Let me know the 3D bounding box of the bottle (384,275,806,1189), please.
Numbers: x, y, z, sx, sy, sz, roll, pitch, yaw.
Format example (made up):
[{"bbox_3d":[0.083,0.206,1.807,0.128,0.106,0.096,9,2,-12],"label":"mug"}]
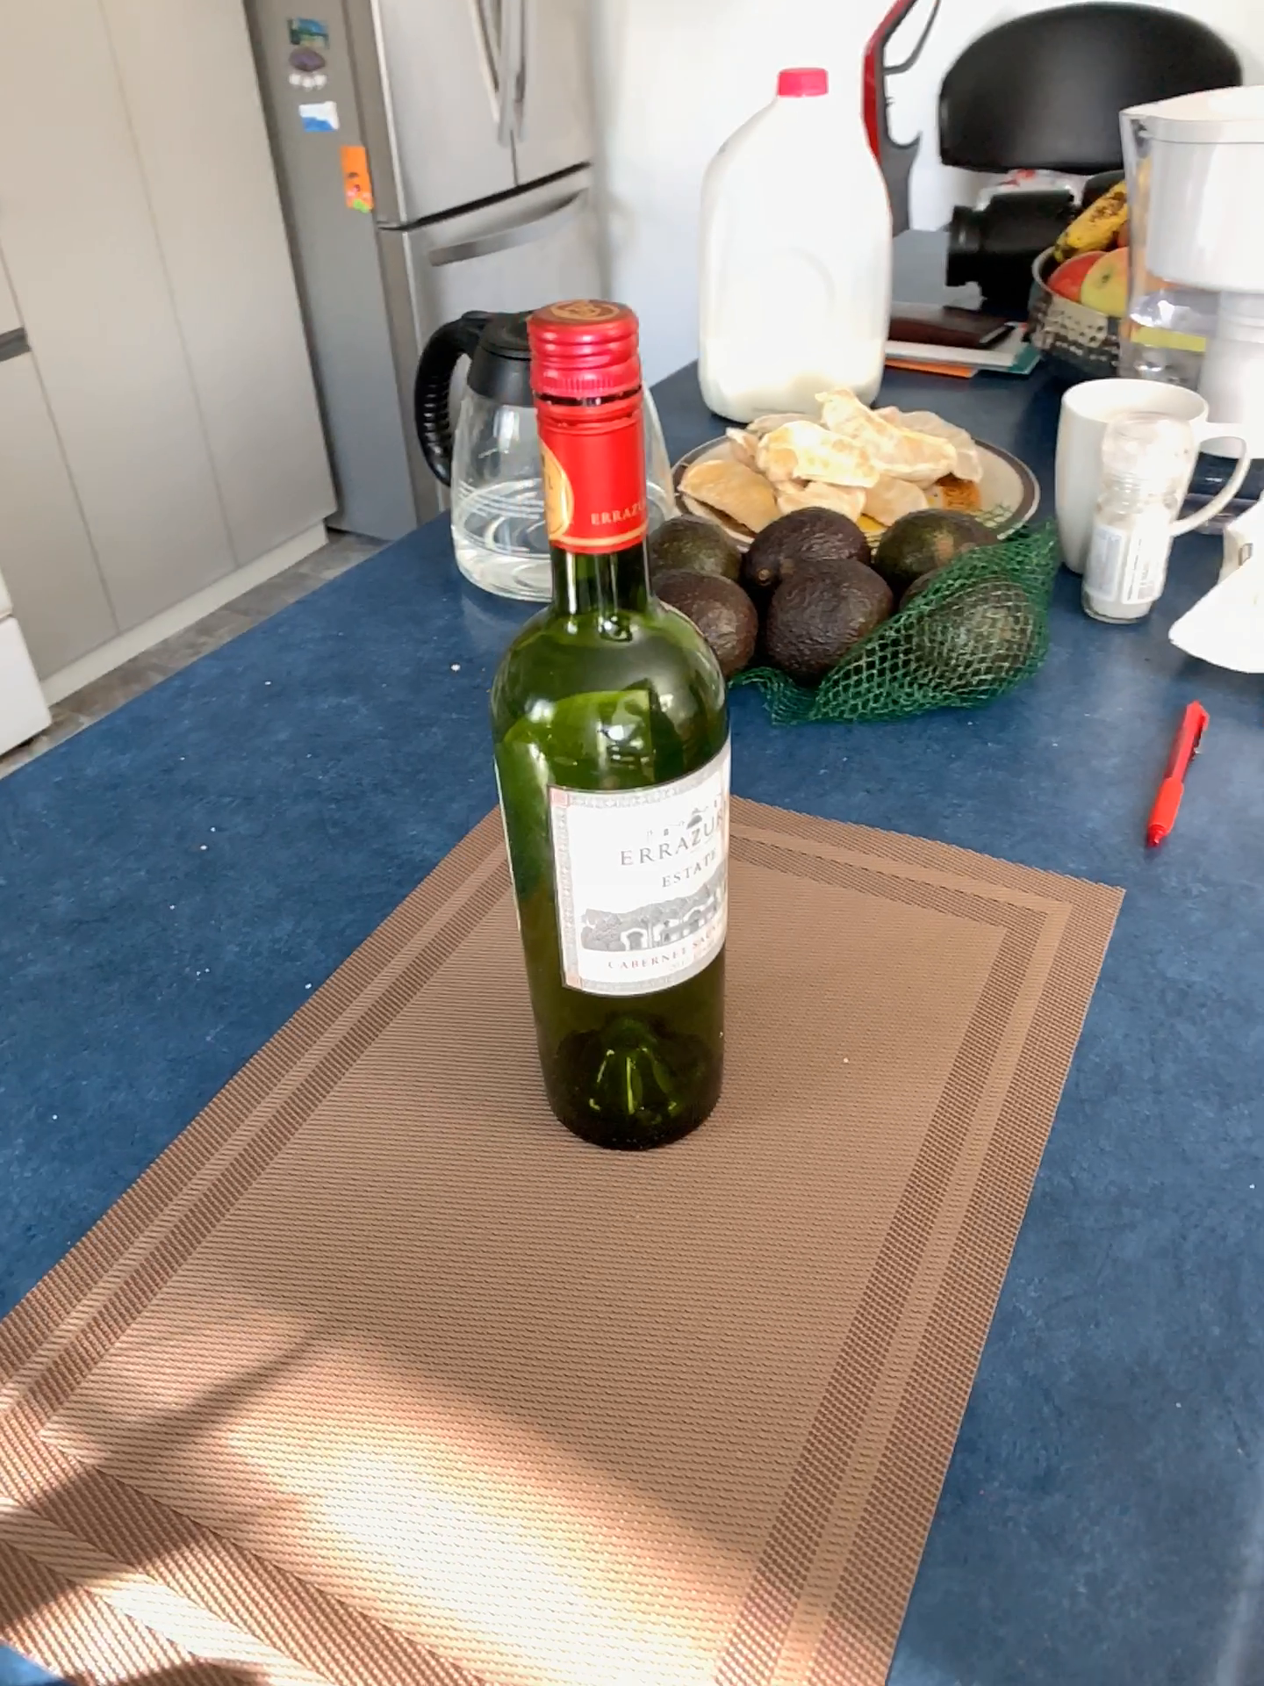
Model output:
[{"bbox_3d":[-0.005,-0.023,0.421,0.080,0.277,0.081,-2,37,1],"label":"bottle"}]
